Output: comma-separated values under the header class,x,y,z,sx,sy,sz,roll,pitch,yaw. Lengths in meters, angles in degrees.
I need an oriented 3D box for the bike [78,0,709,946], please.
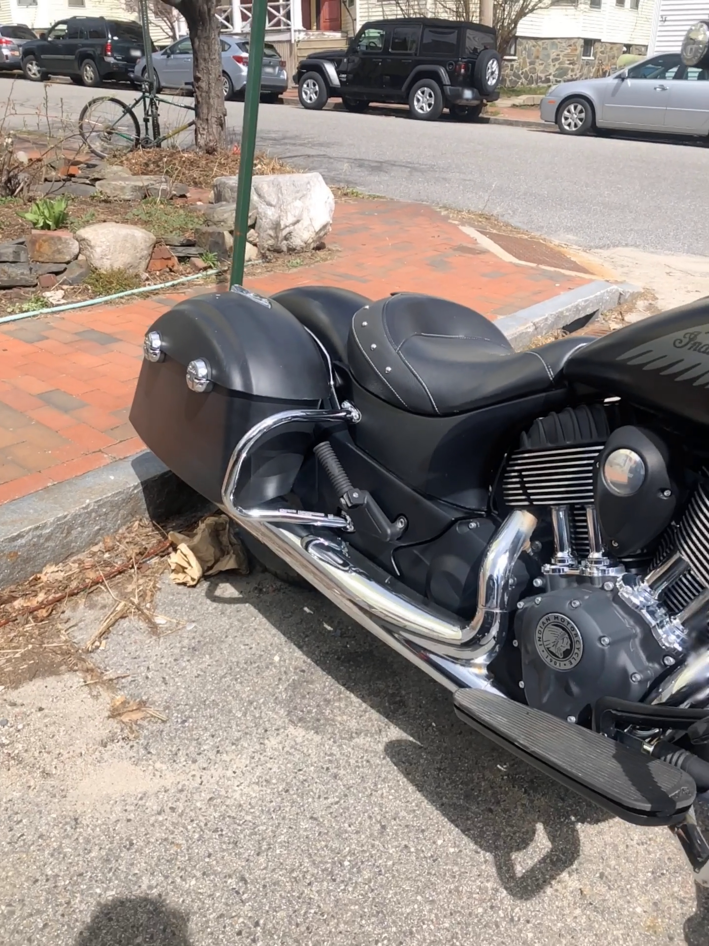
class,x,y,z,sx,sy,sz,roll,pitch,yaw
bike,0.479,0.044,1.173,0.783,1.238,2.131,-21,32,-35
